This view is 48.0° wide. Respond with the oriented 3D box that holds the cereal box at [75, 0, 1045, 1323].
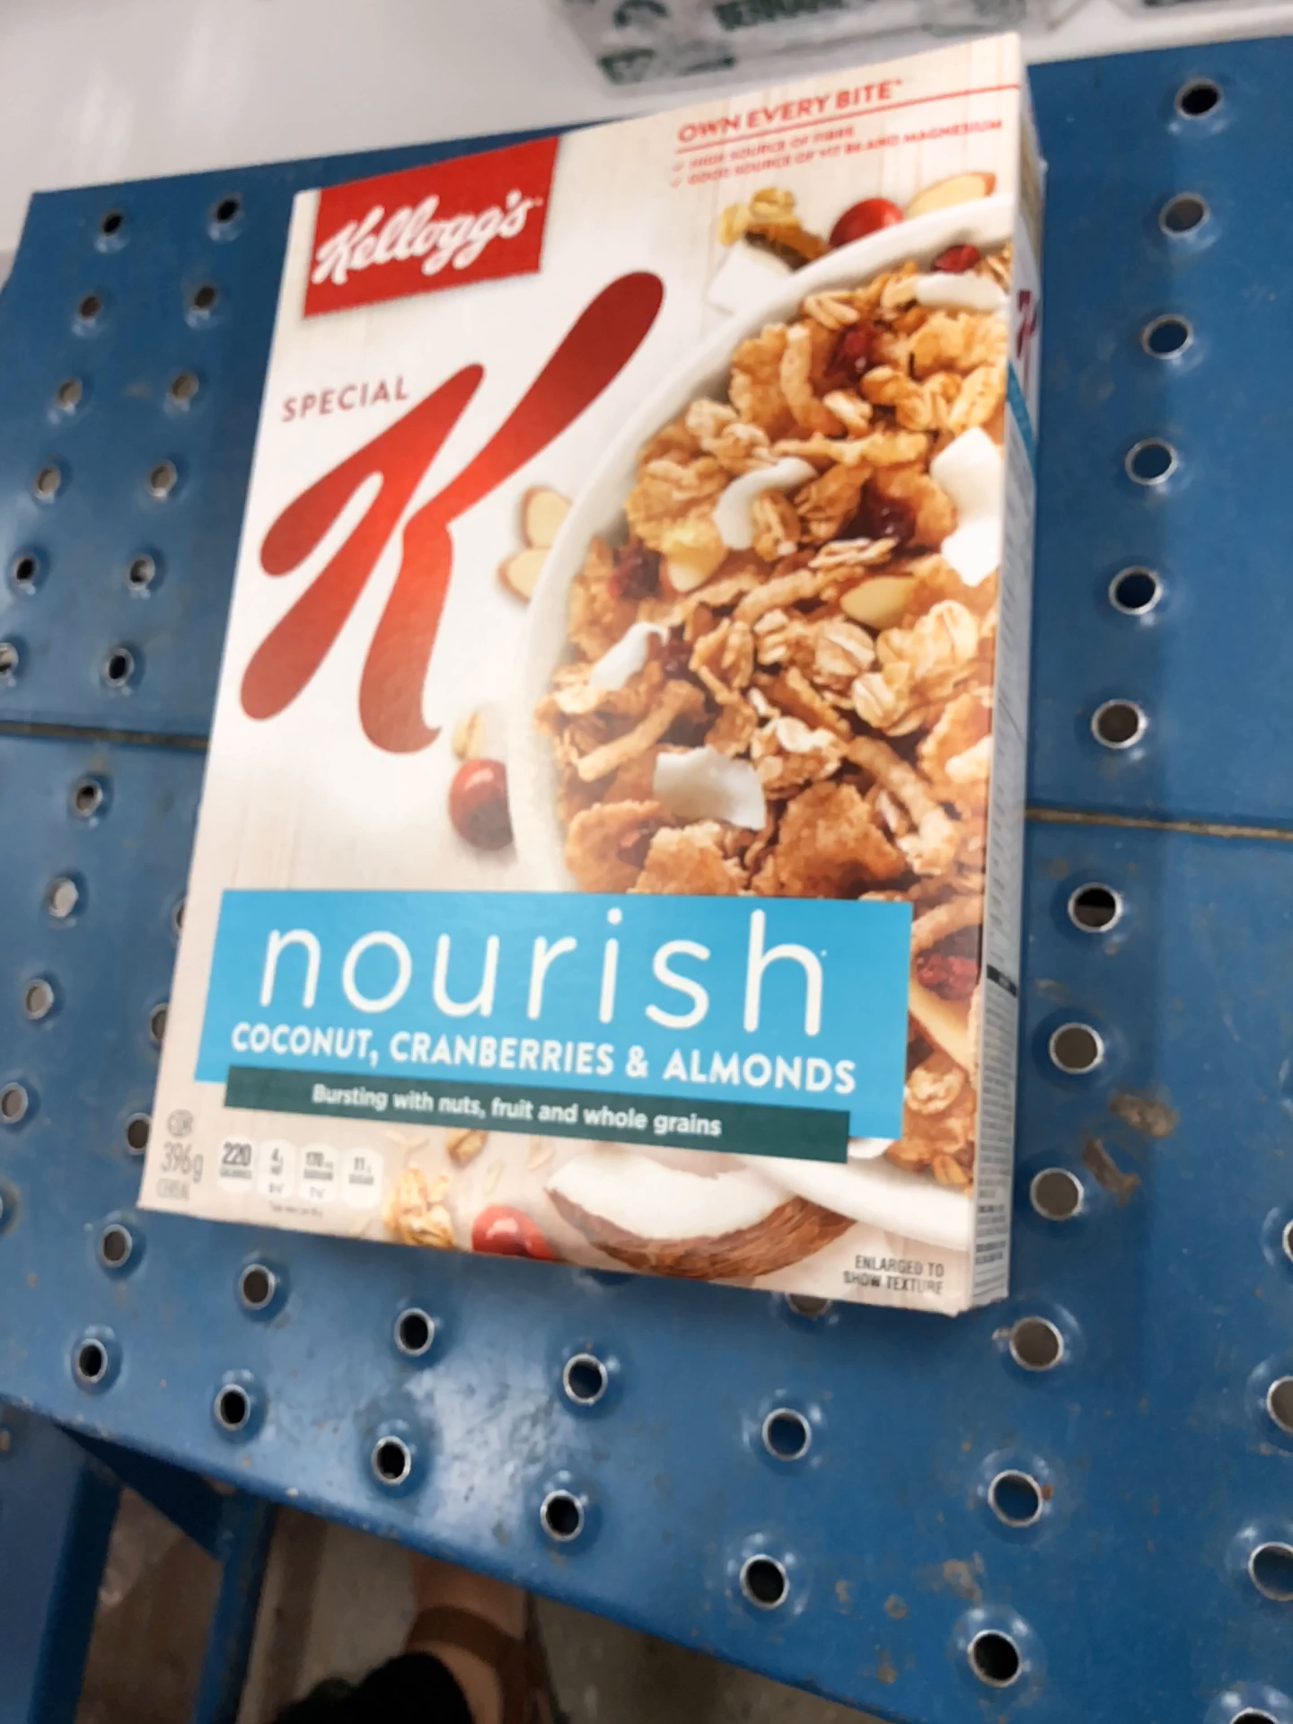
[{"bbox_3d":[-0.018,-0.054,0.350,0.210,0.050,0.290,-1,78,24],"label":"cereal box"}]
